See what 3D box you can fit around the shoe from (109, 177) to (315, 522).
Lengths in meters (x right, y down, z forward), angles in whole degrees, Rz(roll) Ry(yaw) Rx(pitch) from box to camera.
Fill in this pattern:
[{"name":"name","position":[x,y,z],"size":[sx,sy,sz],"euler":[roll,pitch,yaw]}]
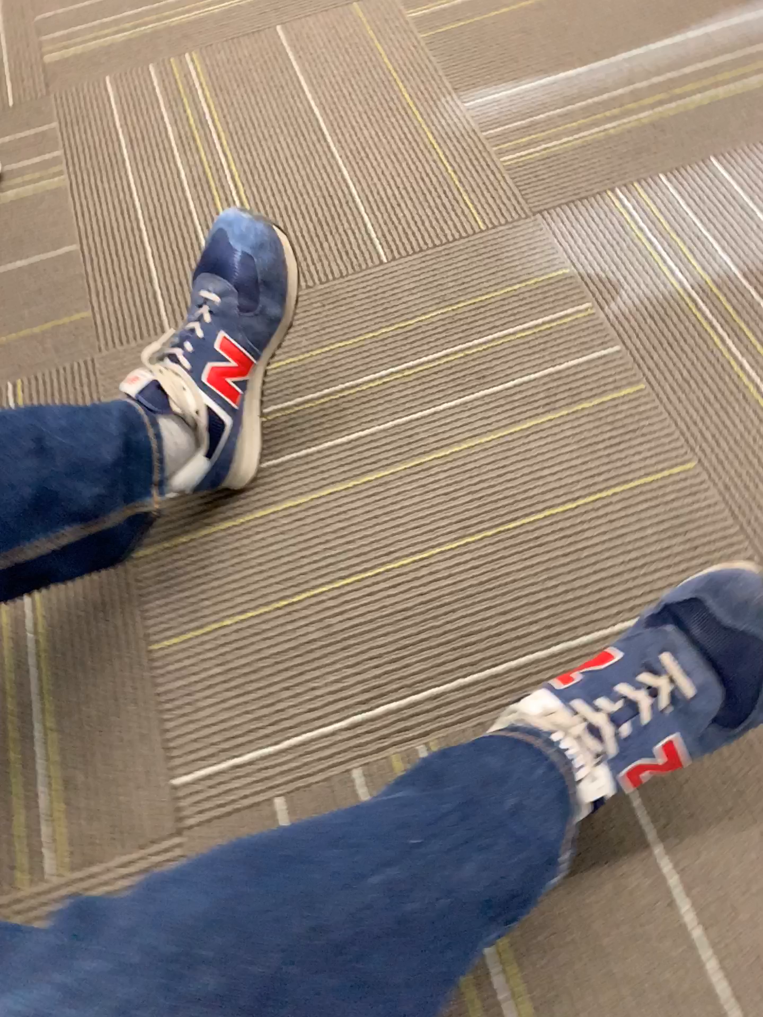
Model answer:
[{"name":"shoe","position":[-0.176,-0.154,0.786],"size":[0.115,0.302,0.096],"euler":[29,28,21]}]

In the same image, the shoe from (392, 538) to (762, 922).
[{"name":"shoe","position":[0.164,0.173,0.594],"size":[0.136,0.296,0.120],"euler":[-19,66,-50]}]
